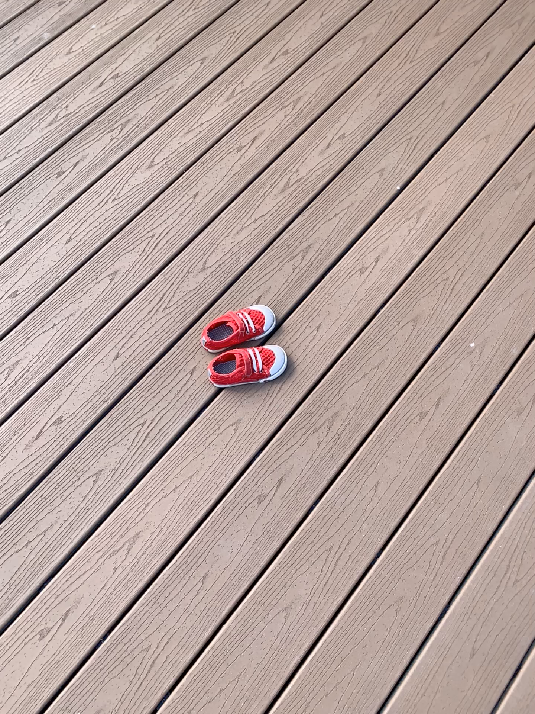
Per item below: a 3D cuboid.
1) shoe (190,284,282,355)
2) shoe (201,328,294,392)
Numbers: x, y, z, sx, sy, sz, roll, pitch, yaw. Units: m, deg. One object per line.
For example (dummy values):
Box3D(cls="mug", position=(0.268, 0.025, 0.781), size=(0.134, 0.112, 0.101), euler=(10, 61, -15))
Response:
Box3D(cls="shoe", position=(-0.069, -0.082, 1.209), size=(0.180, 0.060, 0.090), euler=(-18, 69, -6))
Box3D(cls="shoe", position=(-0.043, 0.008, 1.168), size=(0.180, 0.060, 0.090), euler=(-11, 69, -4))
